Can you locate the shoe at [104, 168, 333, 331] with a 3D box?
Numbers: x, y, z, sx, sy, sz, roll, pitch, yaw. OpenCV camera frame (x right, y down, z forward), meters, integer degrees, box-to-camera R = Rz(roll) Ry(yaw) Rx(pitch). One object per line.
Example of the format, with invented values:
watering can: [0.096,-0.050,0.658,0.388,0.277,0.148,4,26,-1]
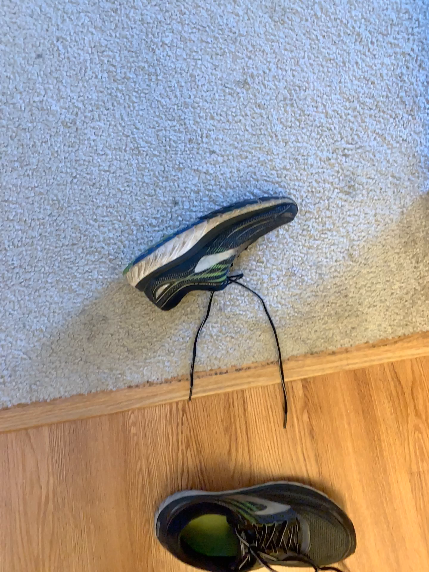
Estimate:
shoe: [0.004,-0.057,0.686,0.310,0.110,0.120,-24,97,-5]

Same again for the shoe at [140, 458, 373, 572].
shoe: [0.059,0.350,0.661,0.310,0.123,0.120,5,80,1]
